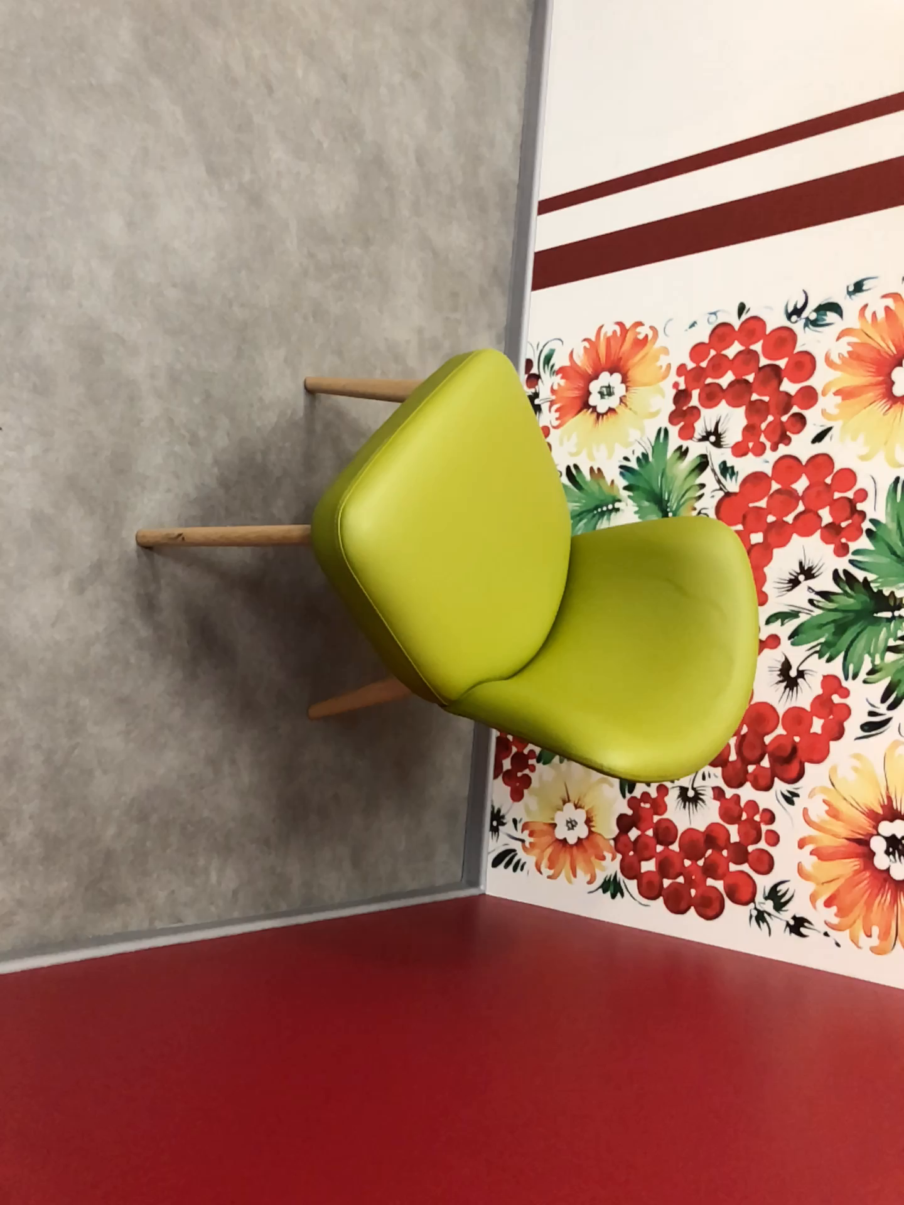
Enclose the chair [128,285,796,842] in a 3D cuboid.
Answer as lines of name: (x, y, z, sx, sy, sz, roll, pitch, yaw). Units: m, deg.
chair: (0.037, -0.059, 1.606, 0.522, 0.776, 0.571, -53, 129, -37)
